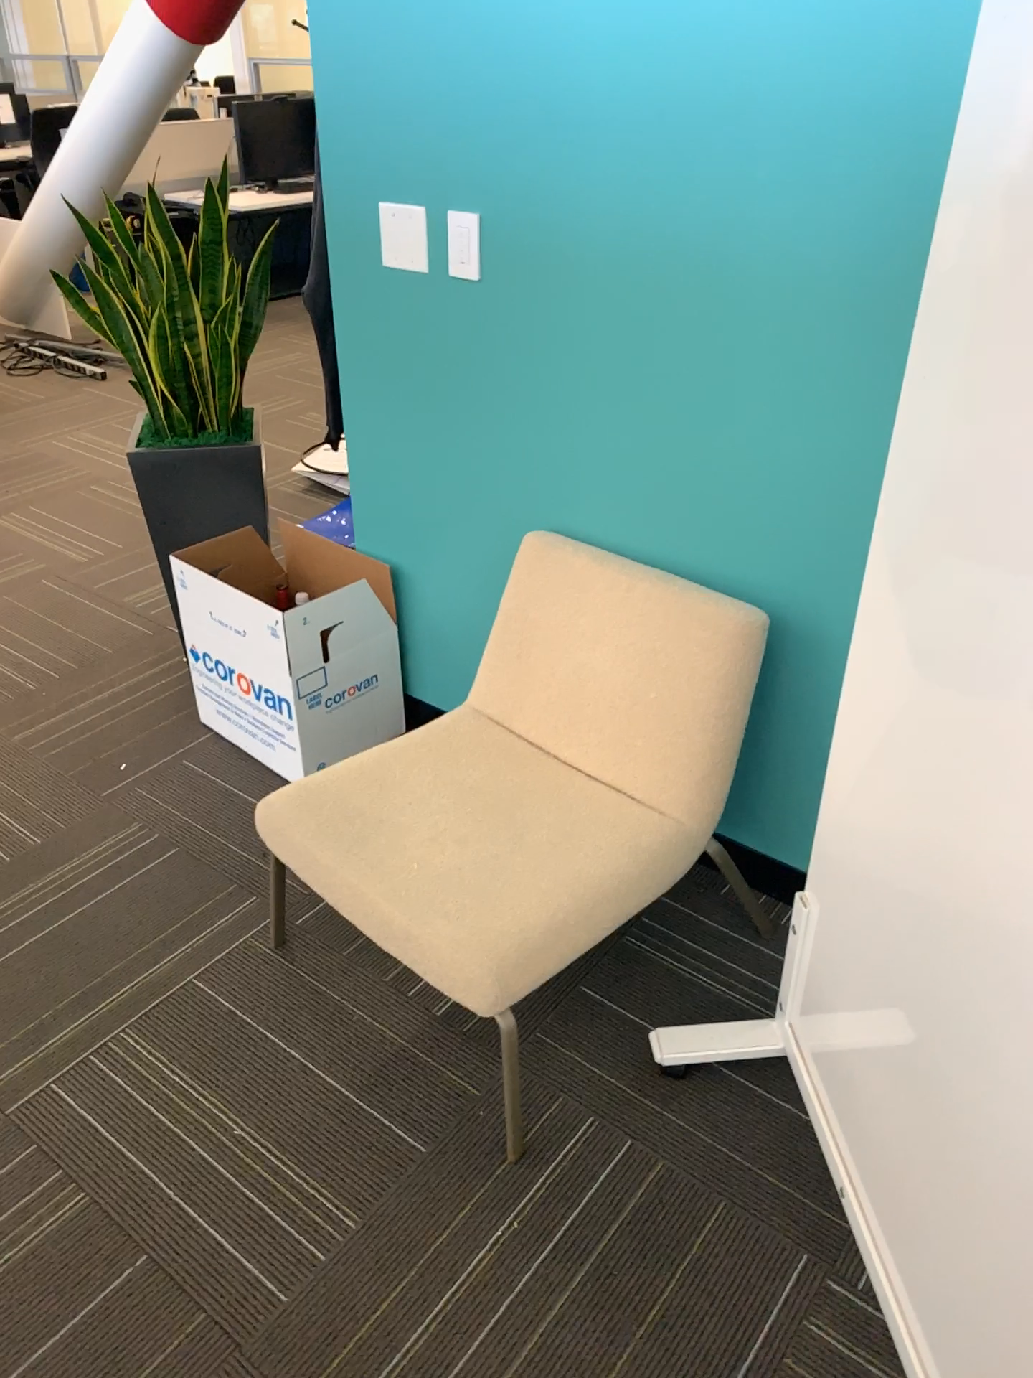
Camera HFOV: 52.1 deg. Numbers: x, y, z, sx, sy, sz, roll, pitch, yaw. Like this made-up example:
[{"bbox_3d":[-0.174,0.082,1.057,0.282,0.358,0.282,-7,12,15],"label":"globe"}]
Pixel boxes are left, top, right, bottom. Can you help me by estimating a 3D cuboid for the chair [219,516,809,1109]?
[{"bbox_3d":[0.006,0.145,1.902,0.662,0.567,0.731,26,40,36],"label":"chair"}]
